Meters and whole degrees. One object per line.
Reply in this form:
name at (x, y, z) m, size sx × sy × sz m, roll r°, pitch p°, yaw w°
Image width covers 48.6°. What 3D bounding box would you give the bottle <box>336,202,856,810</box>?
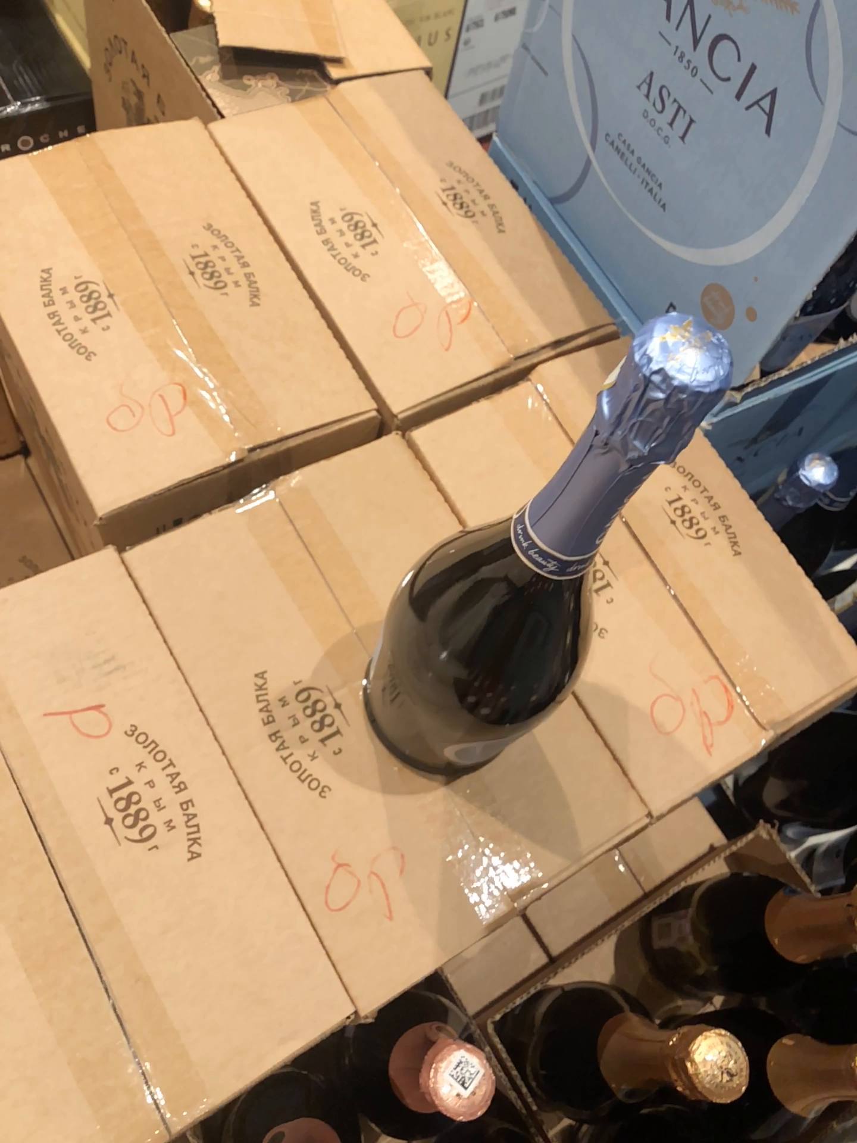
bottle at (0.043, 0.004, 0.403) m, size 0.101 × 0.299 × 0.090 m, roll -28°, pitch 73°, yaw -23°
